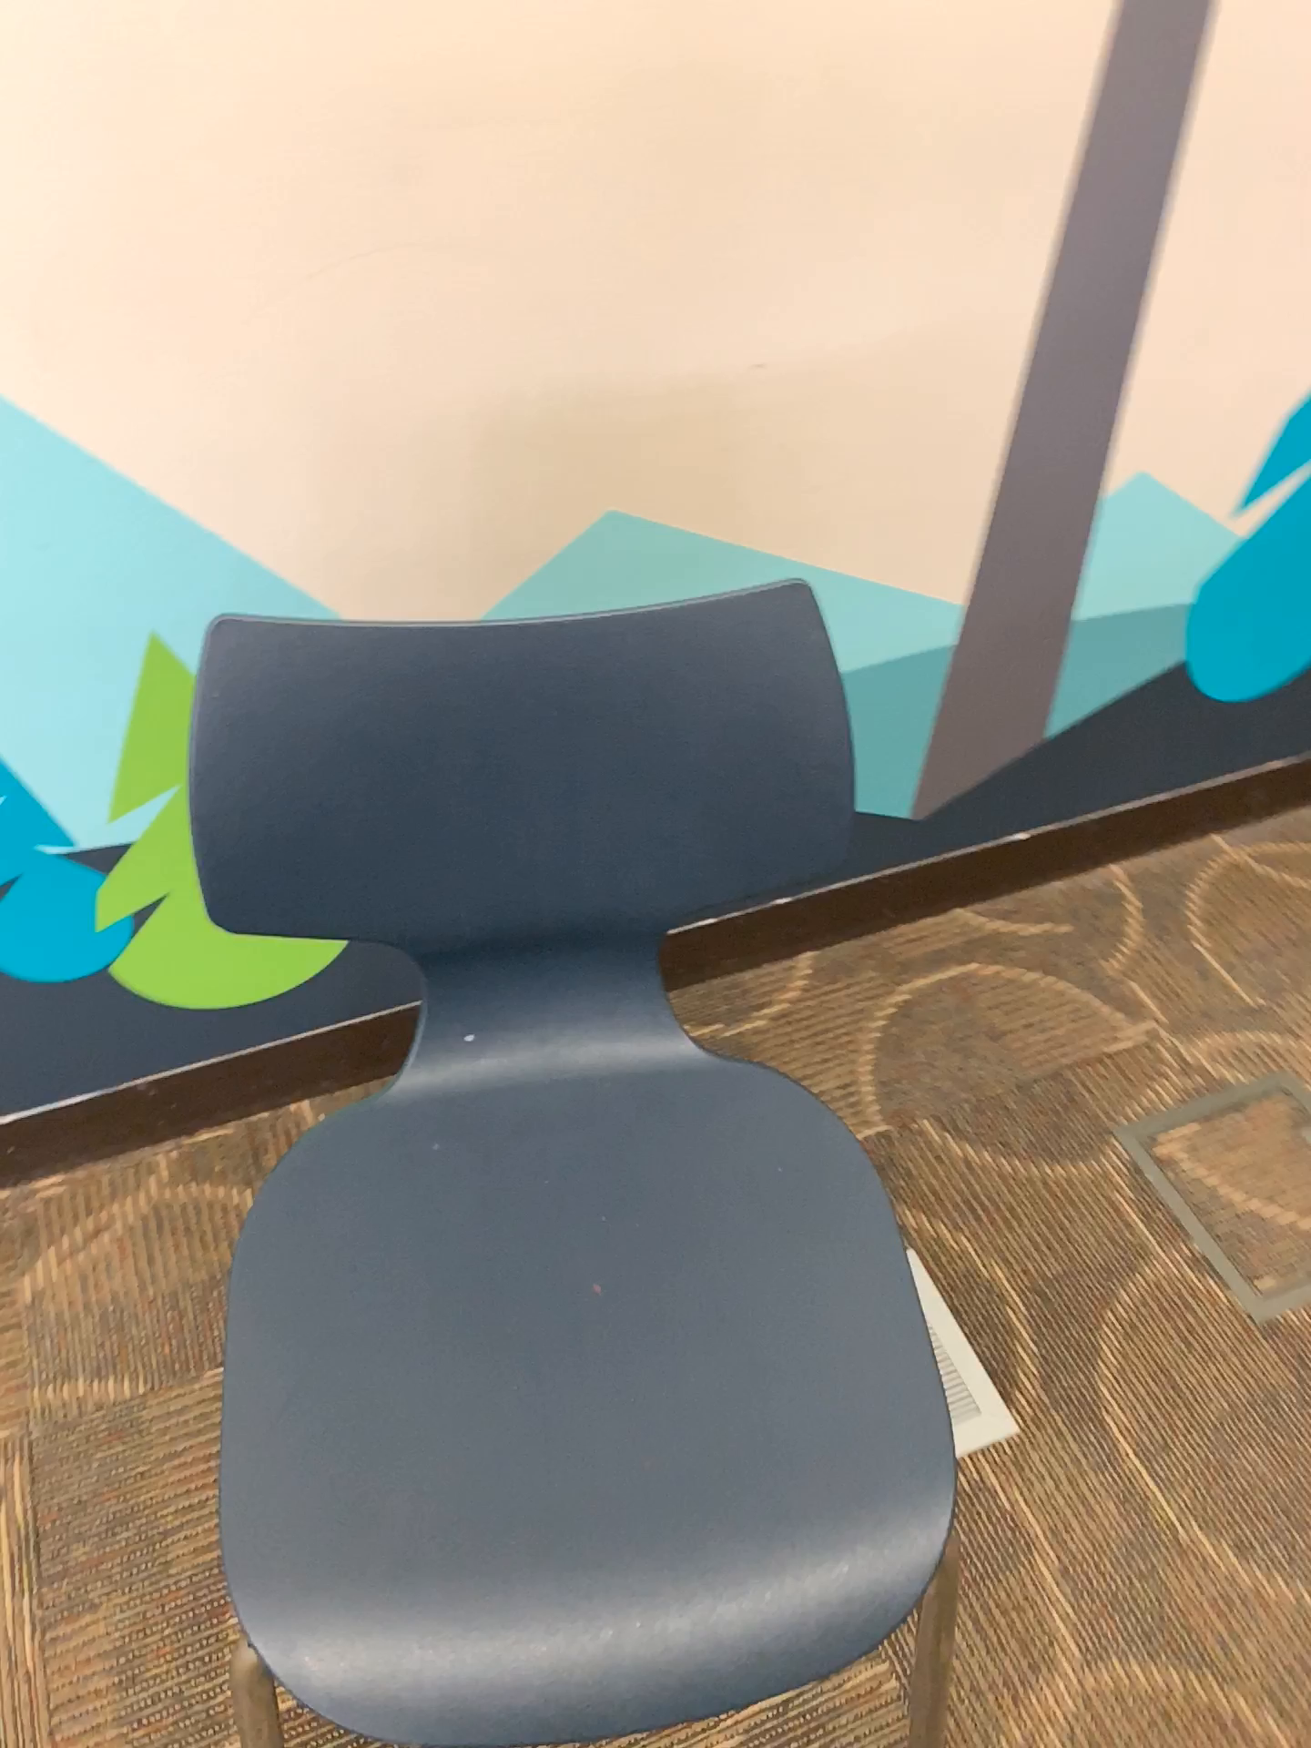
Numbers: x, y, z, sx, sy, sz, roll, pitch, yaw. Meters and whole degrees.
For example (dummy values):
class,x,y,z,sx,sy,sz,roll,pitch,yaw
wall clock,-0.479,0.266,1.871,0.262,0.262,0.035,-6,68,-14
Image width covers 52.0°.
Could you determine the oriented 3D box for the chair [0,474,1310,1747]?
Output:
class,x,y,z,sx,sy,sz,roll,pitch,yaw
chair,-0.067,0.246,0.857,0.570,0.747,0.582,-6,44,-8
